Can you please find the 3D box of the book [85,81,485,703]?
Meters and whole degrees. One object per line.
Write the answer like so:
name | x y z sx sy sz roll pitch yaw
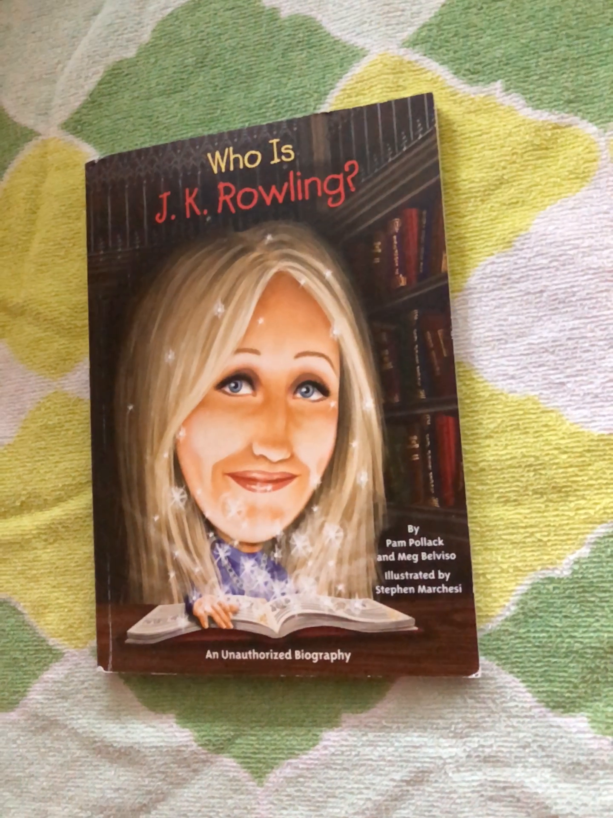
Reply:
book | -0.013 -0.004 0.225 0.126 0.012 0.187 -5 84 15
